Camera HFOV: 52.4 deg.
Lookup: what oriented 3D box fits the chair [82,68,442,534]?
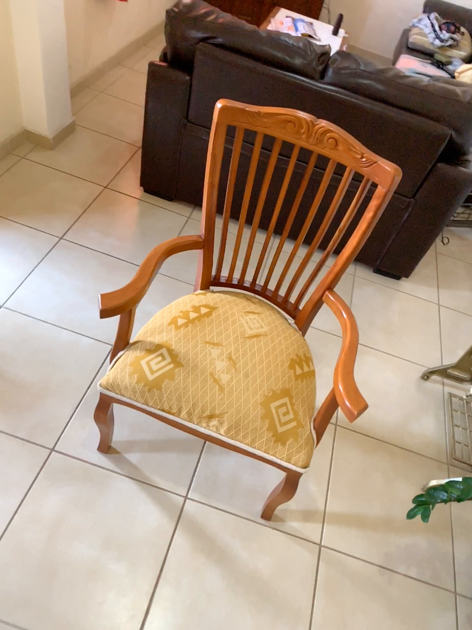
[{"bbox_3d":[0.013,0.027,1.359,0.620,1.015,0.633,21,46,2],"label":"chair"}]
